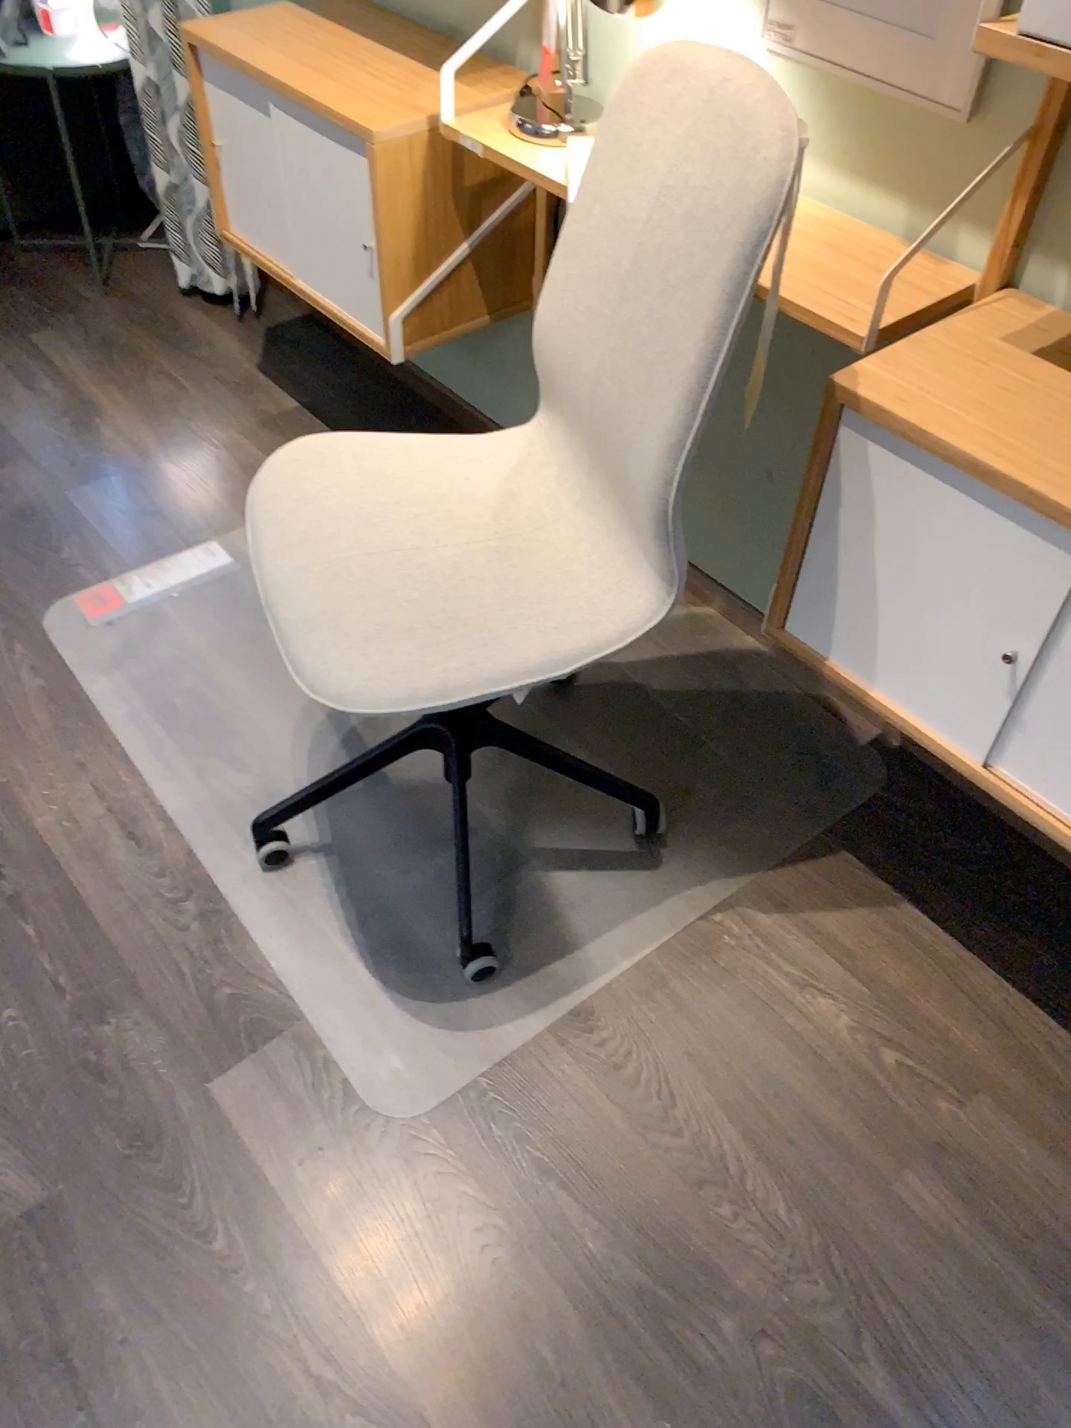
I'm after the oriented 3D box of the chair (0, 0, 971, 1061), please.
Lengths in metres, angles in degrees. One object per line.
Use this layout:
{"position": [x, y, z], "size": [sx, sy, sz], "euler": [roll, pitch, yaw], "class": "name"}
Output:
{"position": [-0.118, -0.219, 1.332], "size": [0.670, 1.015, 0.673], "euler": [-15, 50, -17], "class": "chair"}
